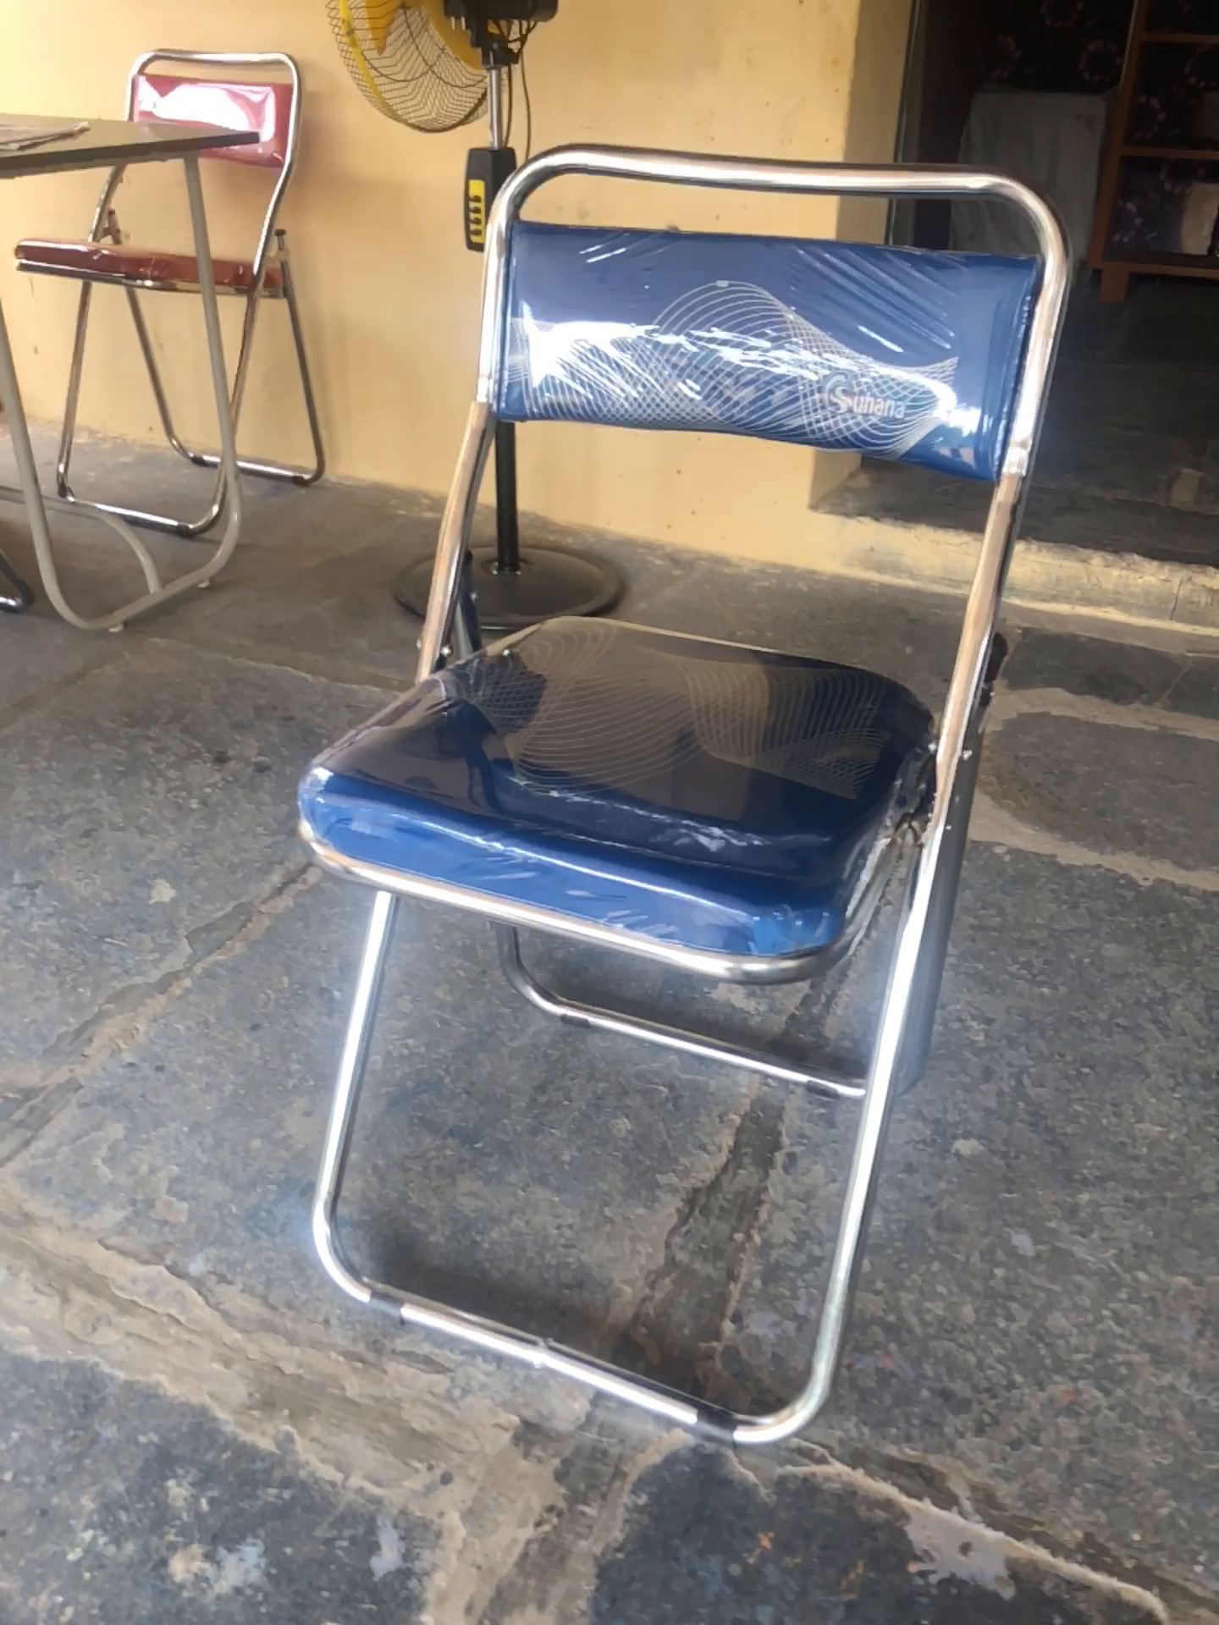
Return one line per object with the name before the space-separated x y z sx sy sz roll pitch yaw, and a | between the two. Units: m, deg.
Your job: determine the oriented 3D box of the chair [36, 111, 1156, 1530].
chair | 0.037 -0.047 0.974 0.500 0.806 0.513 12 30 18
